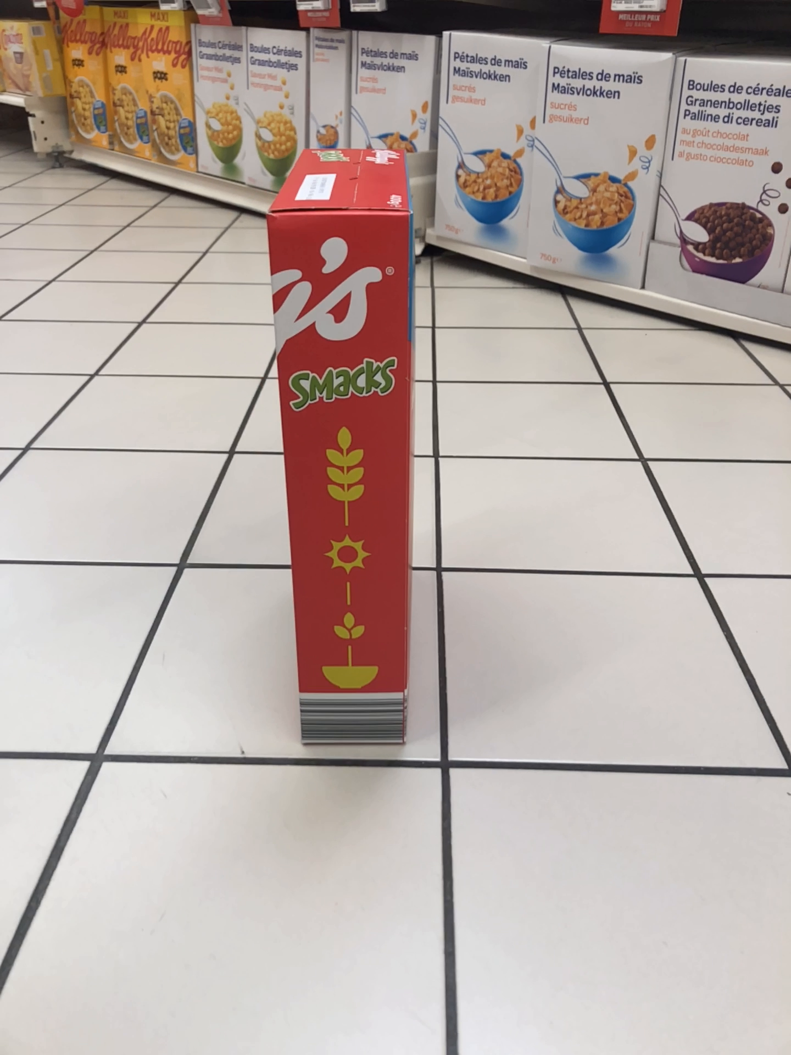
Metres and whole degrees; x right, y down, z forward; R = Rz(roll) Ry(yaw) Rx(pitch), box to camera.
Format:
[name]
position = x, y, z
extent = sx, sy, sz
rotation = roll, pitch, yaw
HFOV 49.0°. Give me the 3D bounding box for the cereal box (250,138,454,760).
[cereal box]
position = -0.016, -0.050, 0.501
extent = 0.080, 0.298, 0.201
rotation = -1, 30, 0
